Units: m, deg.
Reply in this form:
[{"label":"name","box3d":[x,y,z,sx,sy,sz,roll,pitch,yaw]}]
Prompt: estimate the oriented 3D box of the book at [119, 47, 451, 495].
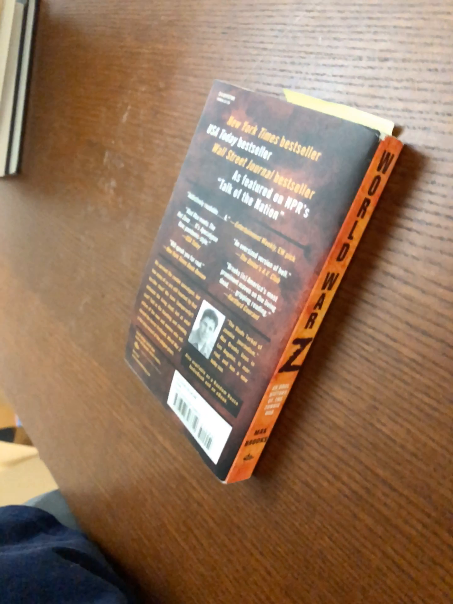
[{"label":"book","box3d":[0.011,-0.022,0.302,0.141,0.030,0.220,41,116,42]}]
